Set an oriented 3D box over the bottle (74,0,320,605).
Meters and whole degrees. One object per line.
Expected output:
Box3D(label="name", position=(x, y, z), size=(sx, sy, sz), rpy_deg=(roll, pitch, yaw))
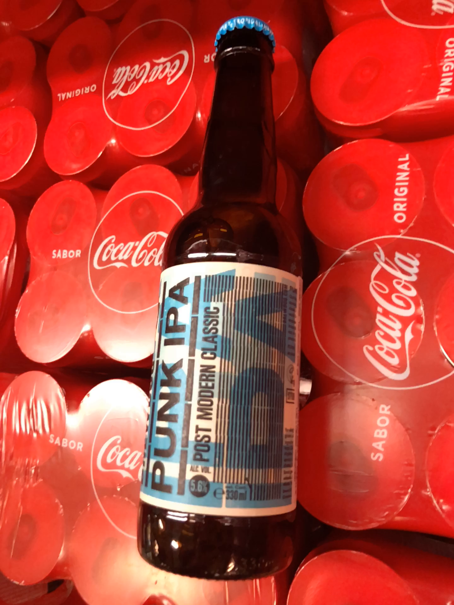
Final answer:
Box3D(label="bottle", position=(-0.003, -0.025, 0.196), size=(0.060, 0.060, 0.230), rpy_deg=(-3, 78, 26))
